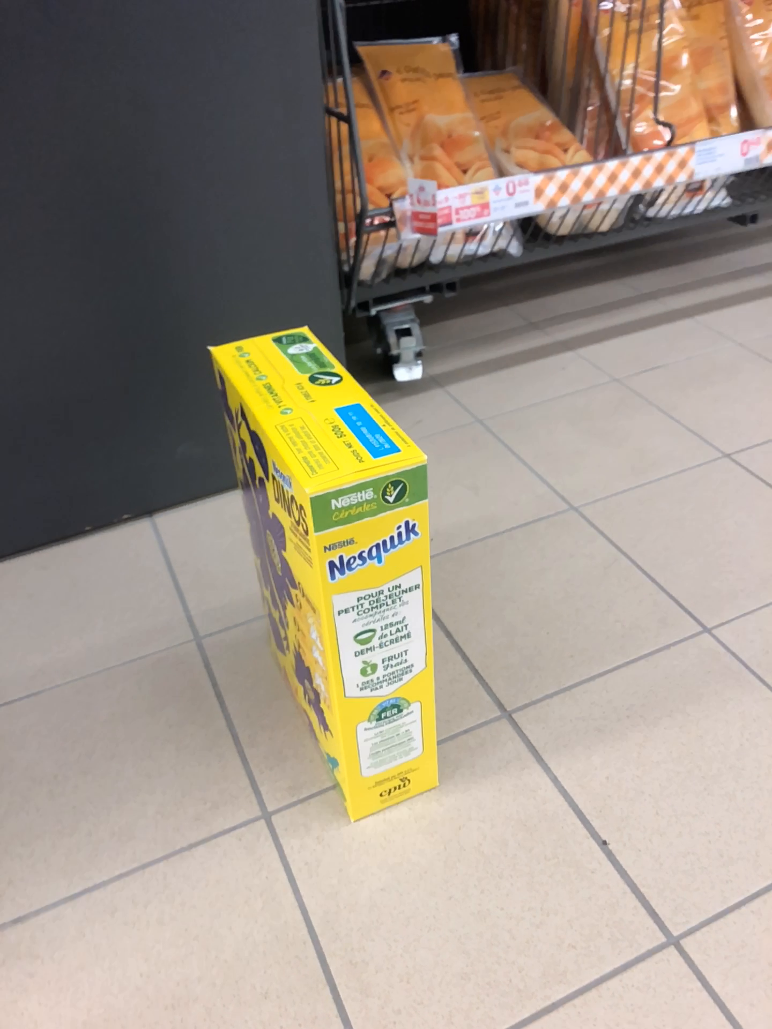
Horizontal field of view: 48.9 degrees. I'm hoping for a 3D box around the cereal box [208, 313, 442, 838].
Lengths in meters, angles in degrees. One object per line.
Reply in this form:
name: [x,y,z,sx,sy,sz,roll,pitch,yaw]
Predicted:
cereal box: [-0.038,0.044,0.589,0.070,0.298,0.201,-17,39,-18]
